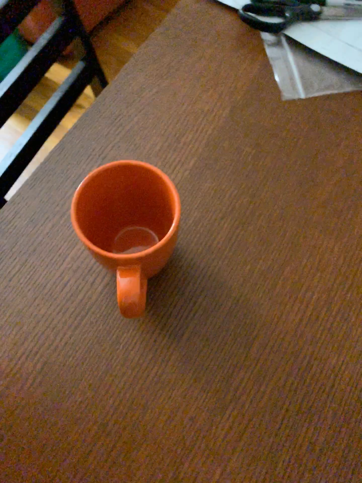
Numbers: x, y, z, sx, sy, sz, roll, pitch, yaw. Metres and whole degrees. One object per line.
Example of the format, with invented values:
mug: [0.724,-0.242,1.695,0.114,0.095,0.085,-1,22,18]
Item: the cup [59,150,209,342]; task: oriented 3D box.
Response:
cup: [-0.041,0.010,0.333,0.100,0.110,0.130,-7,70,-4]
